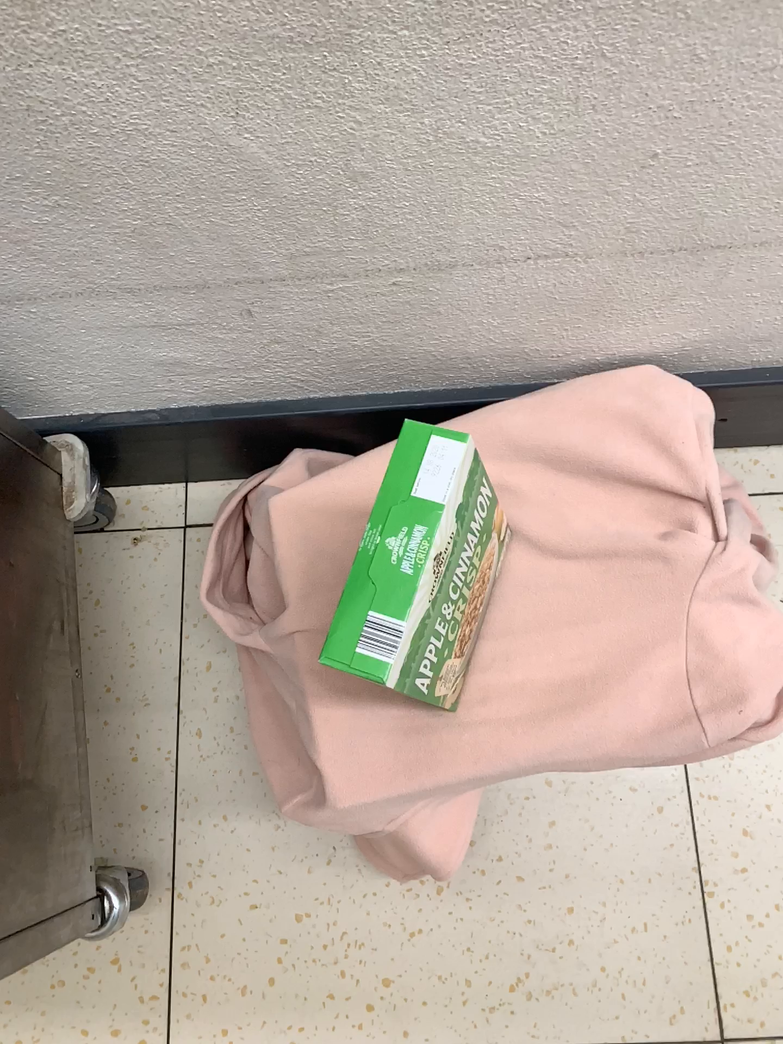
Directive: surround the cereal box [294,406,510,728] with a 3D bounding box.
[{"bbox_3d":[0.026,0.054,0.633,0.060,0.259,0.190,16,77,17],"label":"cereal box"}]
